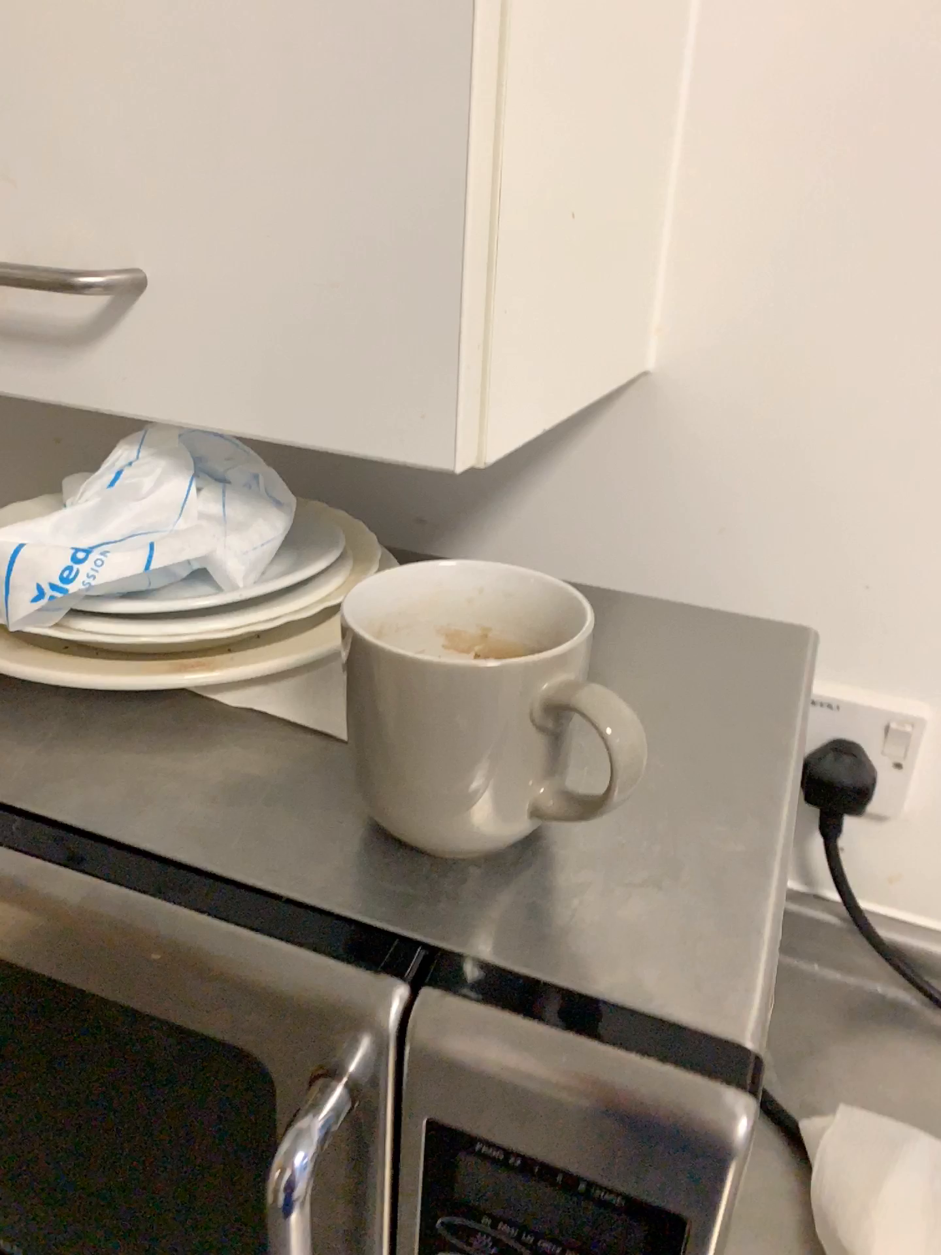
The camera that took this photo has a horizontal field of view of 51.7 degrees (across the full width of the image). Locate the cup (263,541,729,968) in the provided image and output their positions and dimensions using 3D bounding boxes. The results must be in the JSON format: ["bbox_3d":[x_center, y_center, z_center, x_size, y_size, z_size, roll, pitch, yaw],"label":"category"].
[{"bbox_3d":[0.007,0.033,0.348,0.124,0.079,0.101,20,29,34],"label":"cup"}]
